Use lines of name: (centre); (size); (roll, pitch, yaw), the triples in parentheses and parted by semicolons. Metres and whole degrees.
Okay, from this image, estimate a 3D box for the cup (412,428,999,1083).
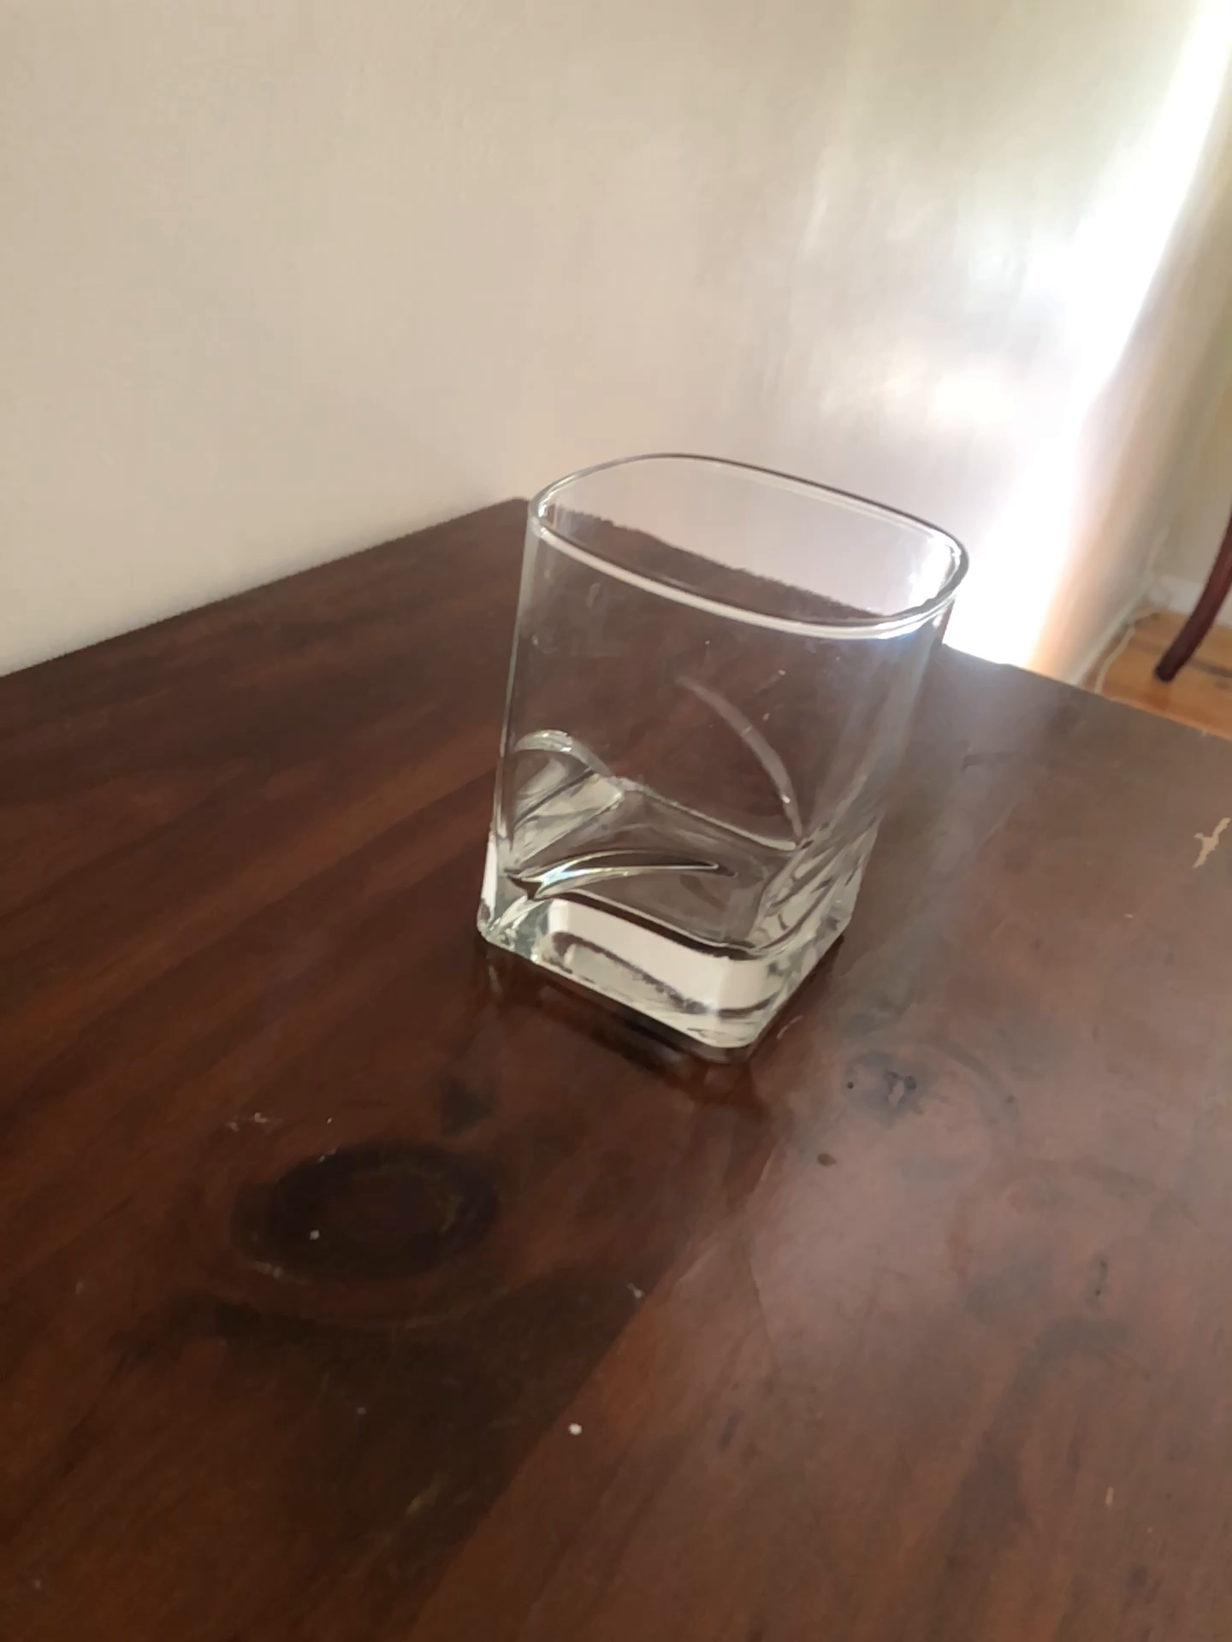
cup: (0.017, -0.018, 0.267); (0.076, 0.087, 0.078); (7, 29, -4)
